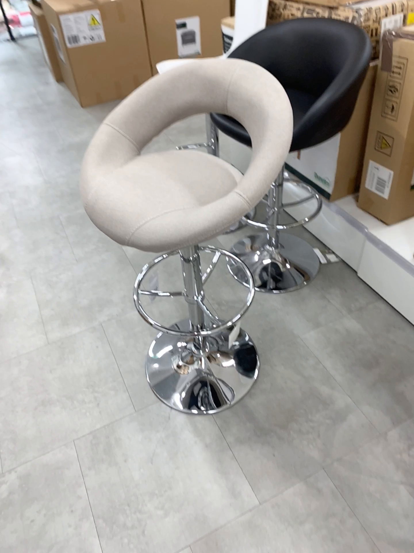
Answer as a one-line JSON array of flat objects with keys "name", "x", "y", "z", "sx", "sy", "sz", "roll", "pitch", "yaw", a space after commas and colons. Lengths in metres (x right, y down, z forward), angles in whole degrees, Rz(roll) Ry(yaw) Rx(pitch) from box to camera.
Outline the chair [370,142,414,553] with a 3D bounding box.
[{"name": "chair", "x": 0.811, "y": 0.316, "z": 0.855, "sx": 0.574, "sy": 0.908, "sz": 0.539, "roll": -10, "pitch": 43, "yaw": -5}]

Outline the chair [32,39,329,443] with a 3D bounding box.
[{"name": "chair", "x": -0.049, "y": -0.061, "z": 1.251, "sx": 0.465, "sy": 0.978, "sz": 0.487, "roll": -27, "pitch": 47, "yaw": -22}]

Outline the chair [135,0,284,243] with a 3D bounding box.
[{"name": "chair", "x": 0.013, "y": -0.751, "z": 1.971, "sx": 0.484, "sy": 1.008, "sz": 0.539, "roll": -10, "pitch": 43, "yaw": -5}]

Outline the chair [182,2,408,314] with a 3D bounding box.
[{"name": "chair", "x": 0.287, "y": -0.431, "z": 1.635, "sx": 0.485, "sy": 0.938, "sz": 0.497, "roll": -27, "pitch": 47, "yaw": -22}]
